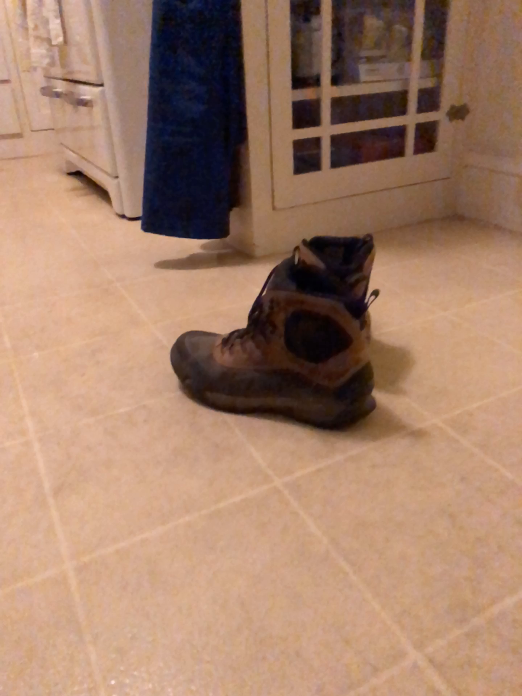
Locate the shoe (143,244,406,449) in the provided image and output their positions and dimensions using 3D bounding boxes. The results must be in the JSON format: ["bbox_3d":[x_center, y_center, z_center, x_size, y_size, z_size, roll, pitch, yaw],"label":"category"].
[{"bbox_3d":[0.018,-0.013,0.744,0.299,0.185,0.122,10,31,22],"label":"shoe"}]

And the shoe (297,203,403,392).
[{"bbox_3d":[0.122,-0.092,0.882,0.113,0.185,0.294,-2,28,1],"label":"shoe"}]
